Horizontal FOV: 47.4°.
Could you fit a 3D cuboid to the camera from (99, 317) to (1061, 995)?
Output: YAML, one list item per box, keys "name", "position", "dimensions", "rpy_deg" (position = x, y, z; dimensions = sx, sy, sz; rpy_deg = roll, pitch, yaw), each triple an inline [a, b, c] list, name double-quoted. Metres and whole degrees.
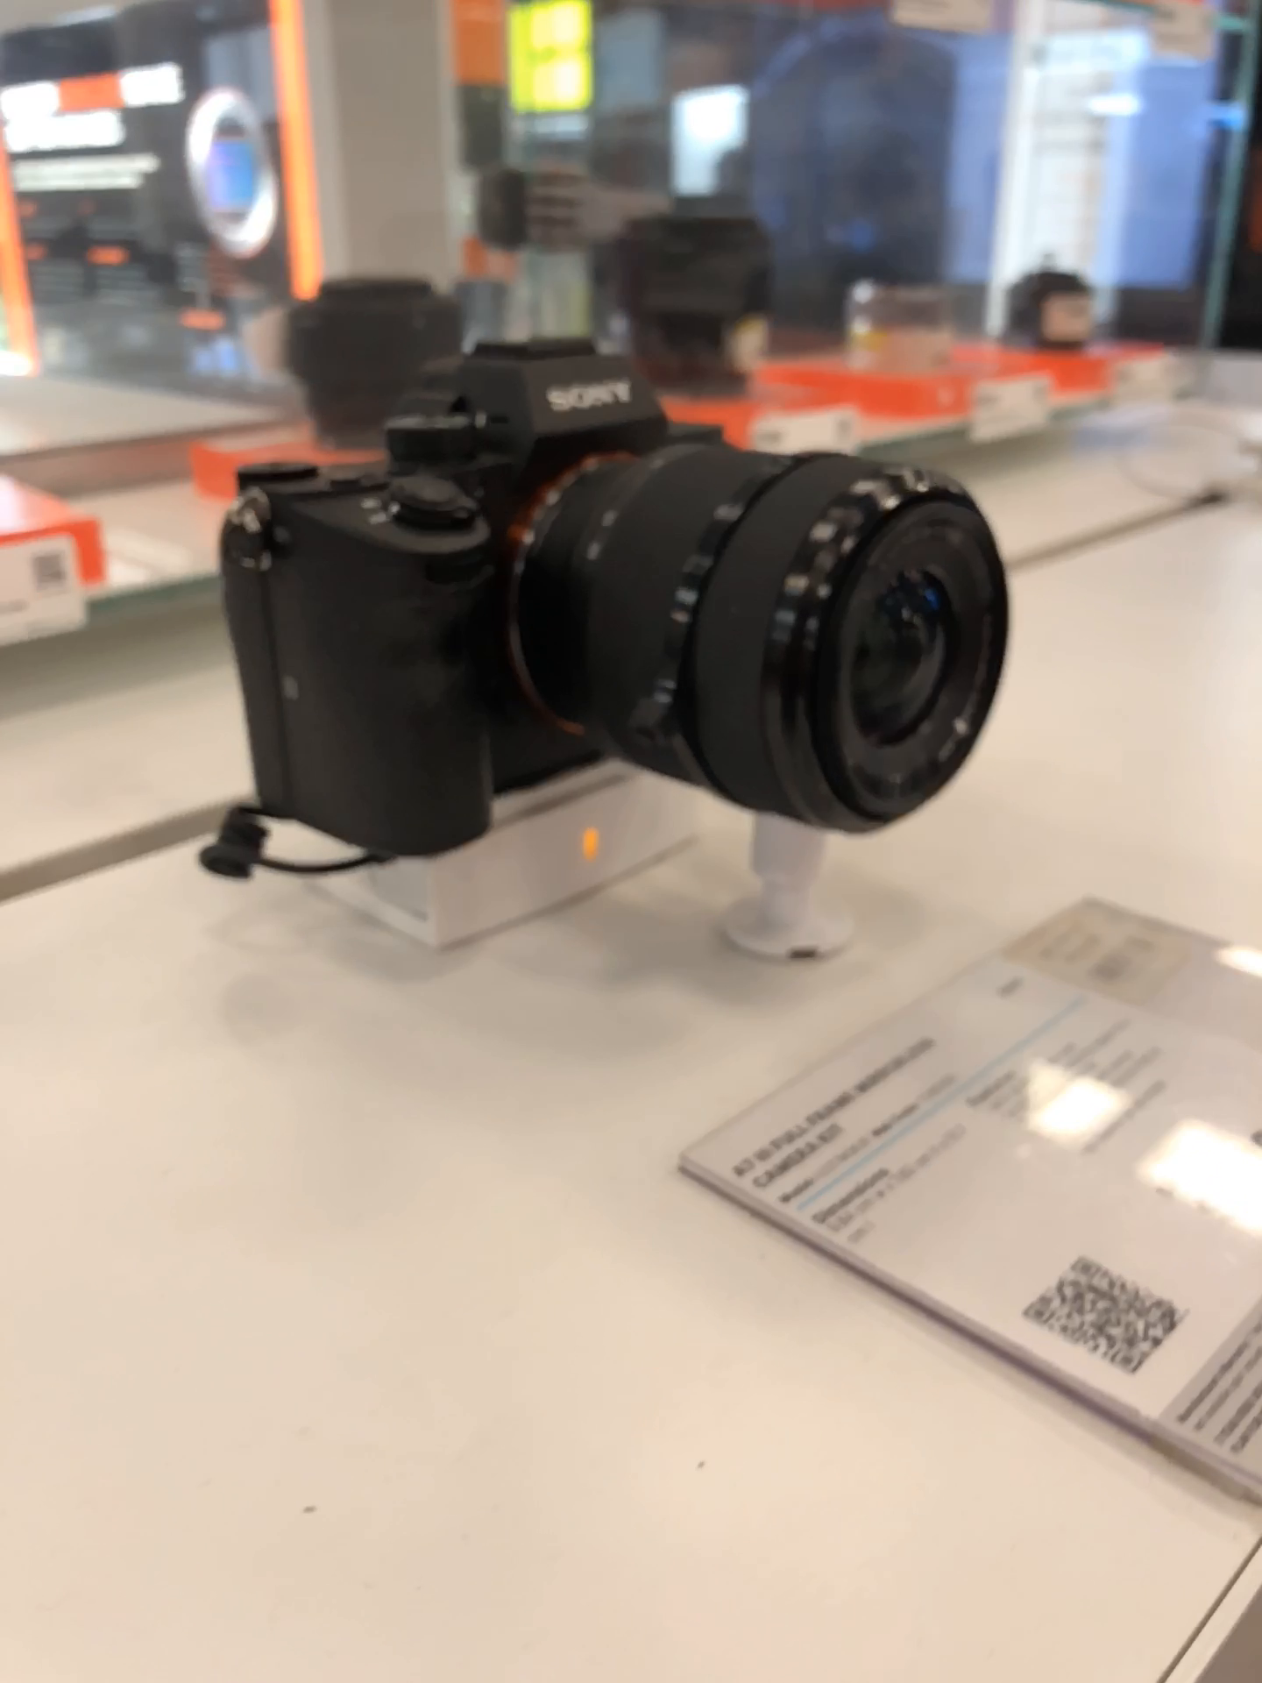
- name: "camera"
  position: [-0.013, -0.060, 0.326]
  dimensions: [0.160, 0.100, 0.130]
  rpy_deg: [20, 31, 40]
